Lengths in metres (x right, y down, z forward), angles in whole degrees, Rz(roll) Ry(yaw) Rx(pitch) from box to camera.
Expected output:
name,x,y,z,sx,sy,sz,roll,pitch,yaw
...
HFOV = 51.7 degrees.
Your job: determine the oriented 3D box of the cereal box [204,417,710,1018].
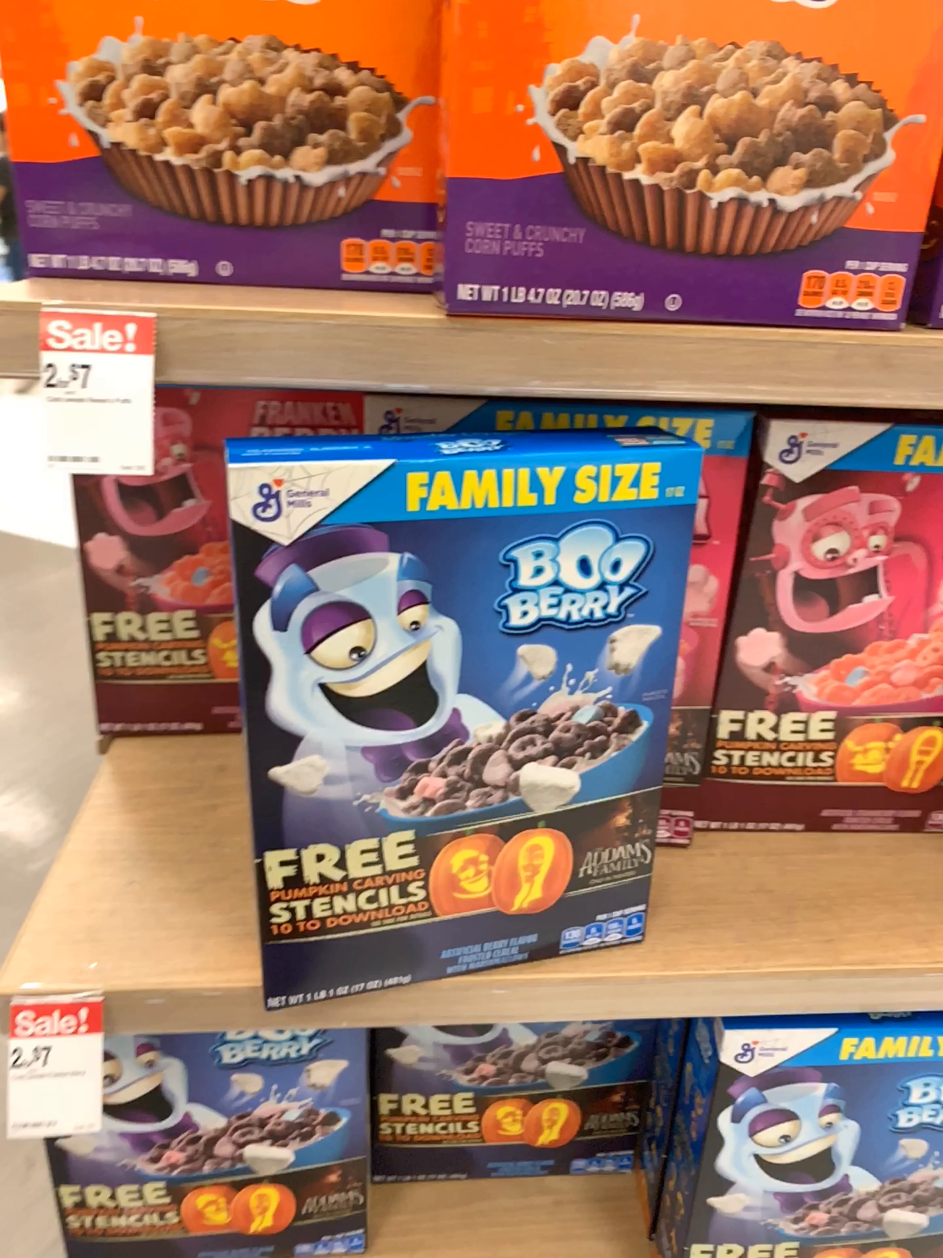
name,x,y,z,sx,sy,sz,roll,pitch,yaw
cereal box,-0.010,0.047,0.534,0.240,0.309,0.060,-5,23,-17
